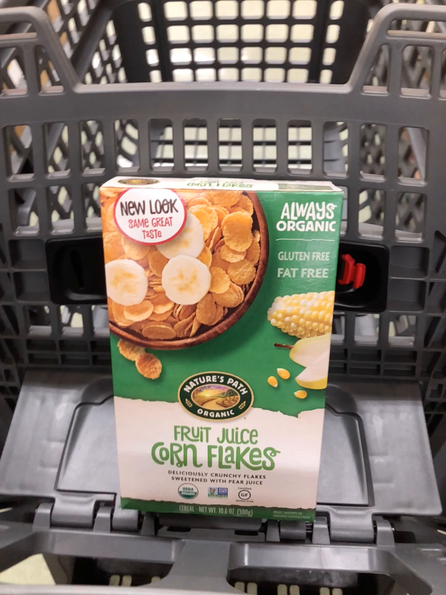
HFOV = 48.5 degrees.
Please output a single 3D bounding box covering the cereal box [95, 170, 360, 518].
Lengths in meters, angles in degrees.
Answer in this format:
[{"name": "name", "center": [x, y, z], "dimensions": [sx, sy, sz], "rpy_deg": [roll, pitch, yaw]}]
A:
[{"name": "cereal box", "center": [0.002, 0.032, 0.350], "dimensions": [0.150, 0.230, 0.070], "rpy_deg": [2, 18, 4]}]
